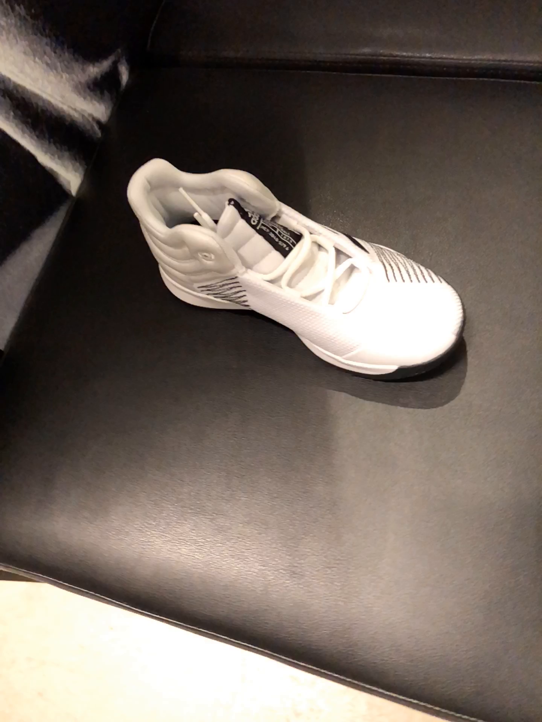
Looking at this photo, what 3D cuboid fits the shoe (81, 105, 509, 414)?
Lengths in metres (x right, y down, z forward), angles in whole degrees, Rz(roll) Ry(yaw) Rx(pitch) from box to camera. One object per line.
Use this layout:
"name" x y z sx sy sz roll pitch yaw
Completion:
"shoe" 0.016 -0.065 0.385 0.220 0.110 0.100 19 73 19
